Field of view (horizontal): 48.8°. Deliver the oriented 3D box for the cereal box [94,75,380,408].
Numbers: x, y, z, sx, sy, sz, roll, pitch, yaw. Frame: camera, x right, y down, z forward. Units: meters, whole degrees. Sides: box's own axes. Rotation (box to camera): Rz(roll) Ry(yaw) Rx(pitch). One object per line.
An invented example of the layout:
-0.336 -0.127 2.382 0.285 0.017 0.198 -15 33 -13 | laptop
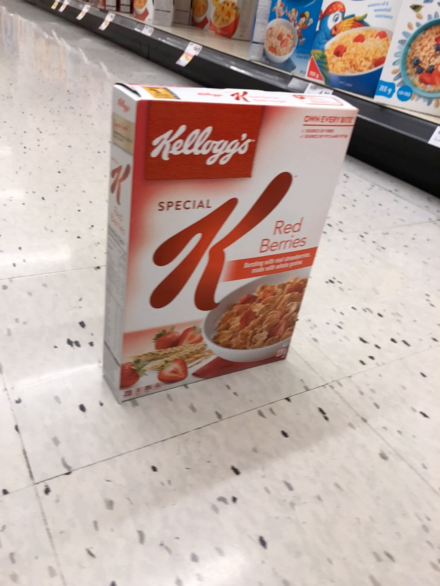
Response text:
0.005 -0.039 0.428 0.210 0.258 0.060 -9 36 -29 | cereal box
